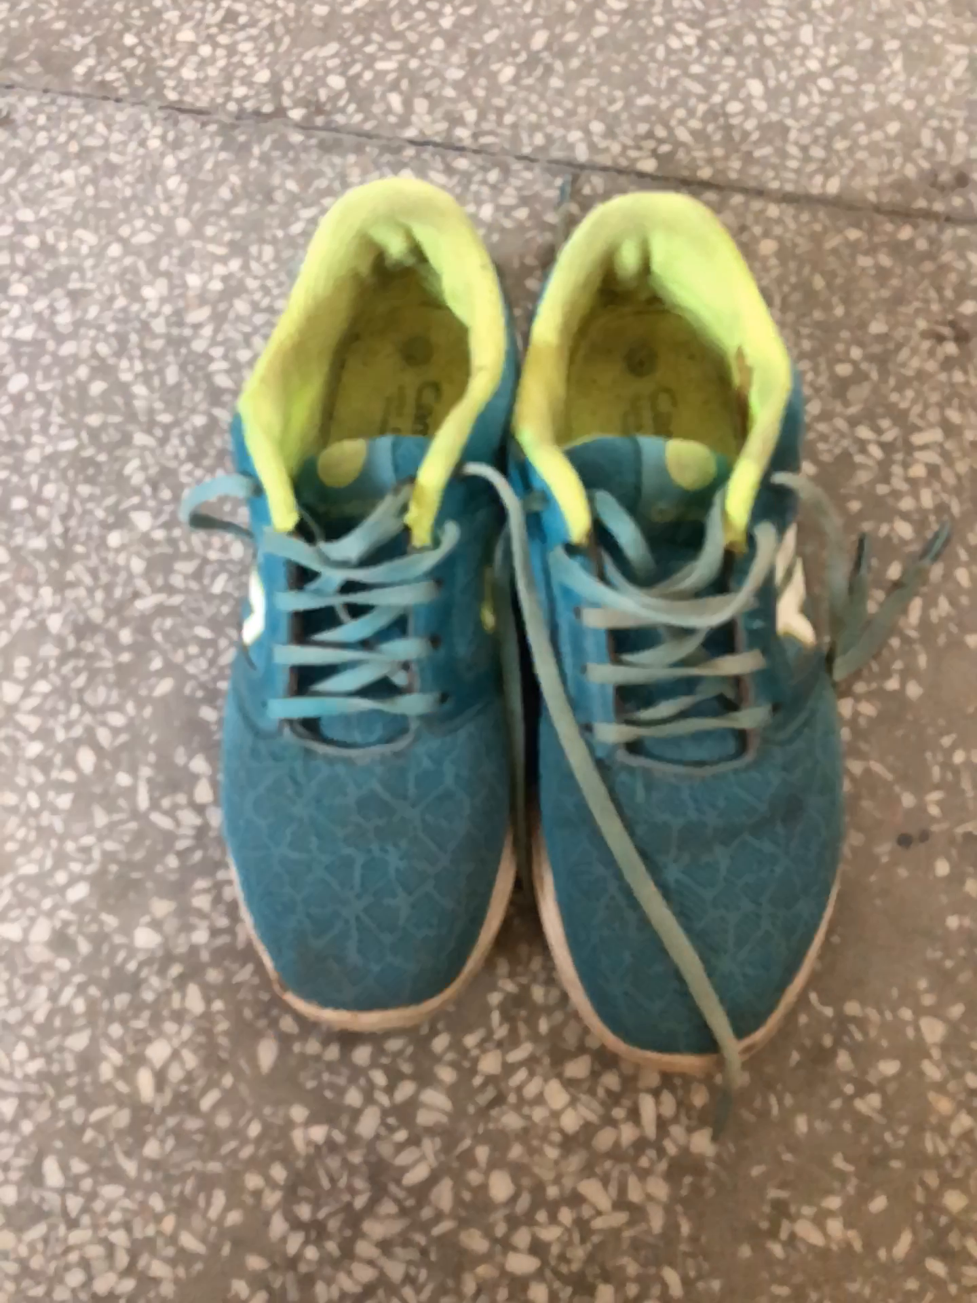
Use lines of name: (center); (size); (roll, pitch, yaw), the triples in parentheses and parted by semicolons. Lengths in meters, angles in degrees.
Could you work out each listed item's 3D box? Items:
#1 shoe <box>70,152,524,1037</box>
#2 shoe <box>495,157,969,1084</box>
shoe: (-0.040, -0.014, 0.311); (0.091, 0.092, 0.230); (0, 73, 5)
shoe: (0.053, -0.007, 0.297); (0.094, 0.088, 0.229); (-2, 73, 5)
